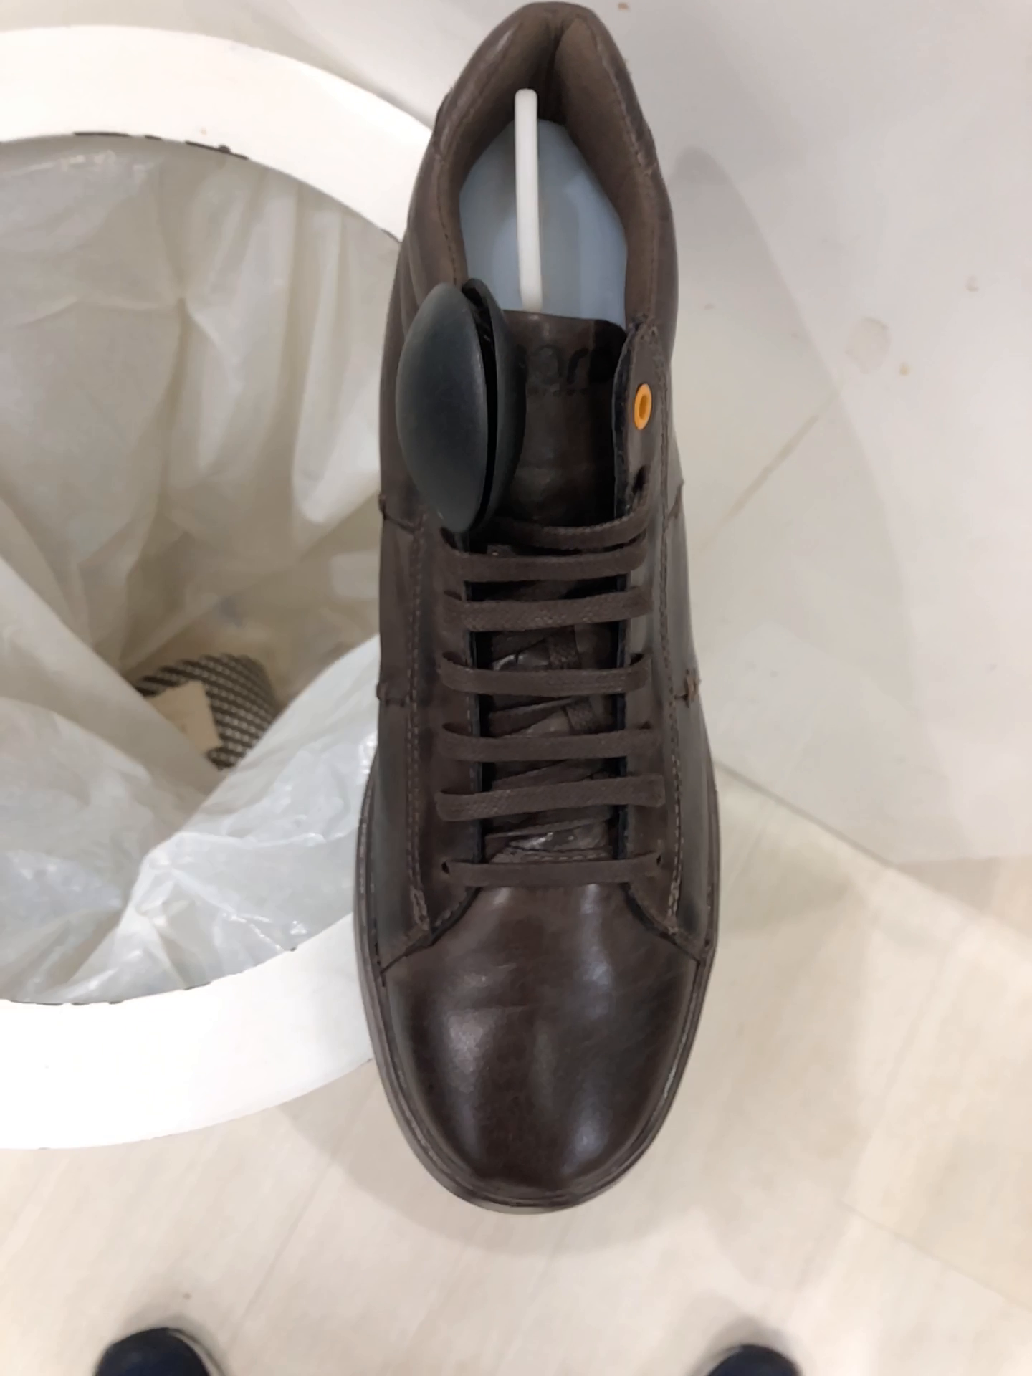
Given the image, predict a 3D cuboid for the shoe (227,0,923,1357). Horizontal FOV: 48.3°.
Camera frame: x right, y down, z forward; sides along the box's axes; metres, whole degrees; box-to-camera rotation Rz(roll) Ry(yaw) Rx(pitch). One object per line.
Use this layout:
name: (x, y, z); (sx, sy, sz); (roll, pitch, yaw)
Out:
shoe: (0.006, -0.009, 0.289); (0.120, 0.140, 0.270); (1, 80, -6)
